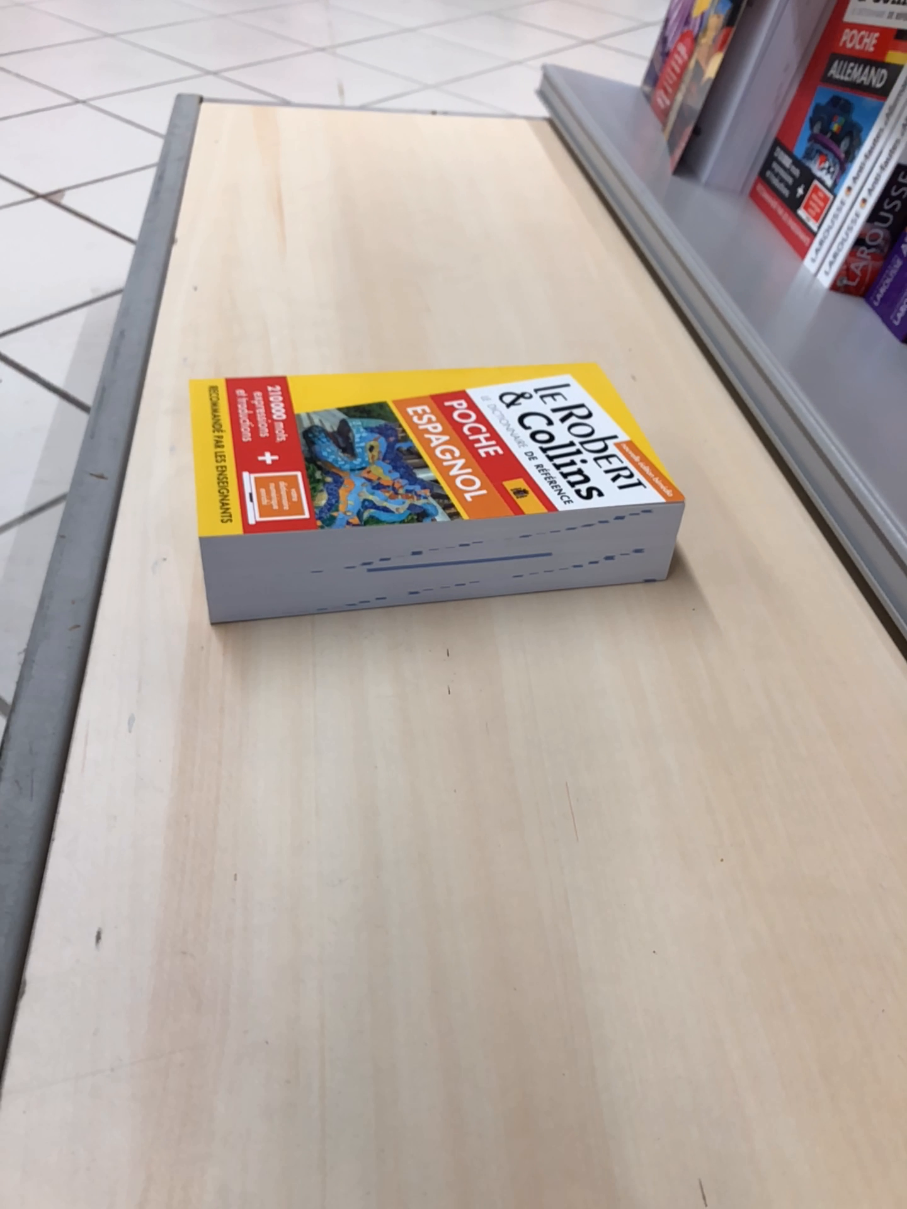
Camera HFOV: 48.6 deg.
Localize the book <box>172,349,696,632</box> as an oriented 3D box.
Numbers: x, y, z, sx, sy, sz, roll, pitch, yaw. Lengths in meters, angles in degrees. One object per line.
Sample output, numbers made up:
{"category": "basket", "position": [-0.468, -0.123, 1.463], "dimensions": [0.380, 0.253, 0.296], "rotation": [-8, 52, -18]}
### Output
{"category": "book", "position": [-0.014, -0.051, 0.393], "dimensions": [0.180, 0.040, 0.111], "rotation": [-6, 43, -12]}
